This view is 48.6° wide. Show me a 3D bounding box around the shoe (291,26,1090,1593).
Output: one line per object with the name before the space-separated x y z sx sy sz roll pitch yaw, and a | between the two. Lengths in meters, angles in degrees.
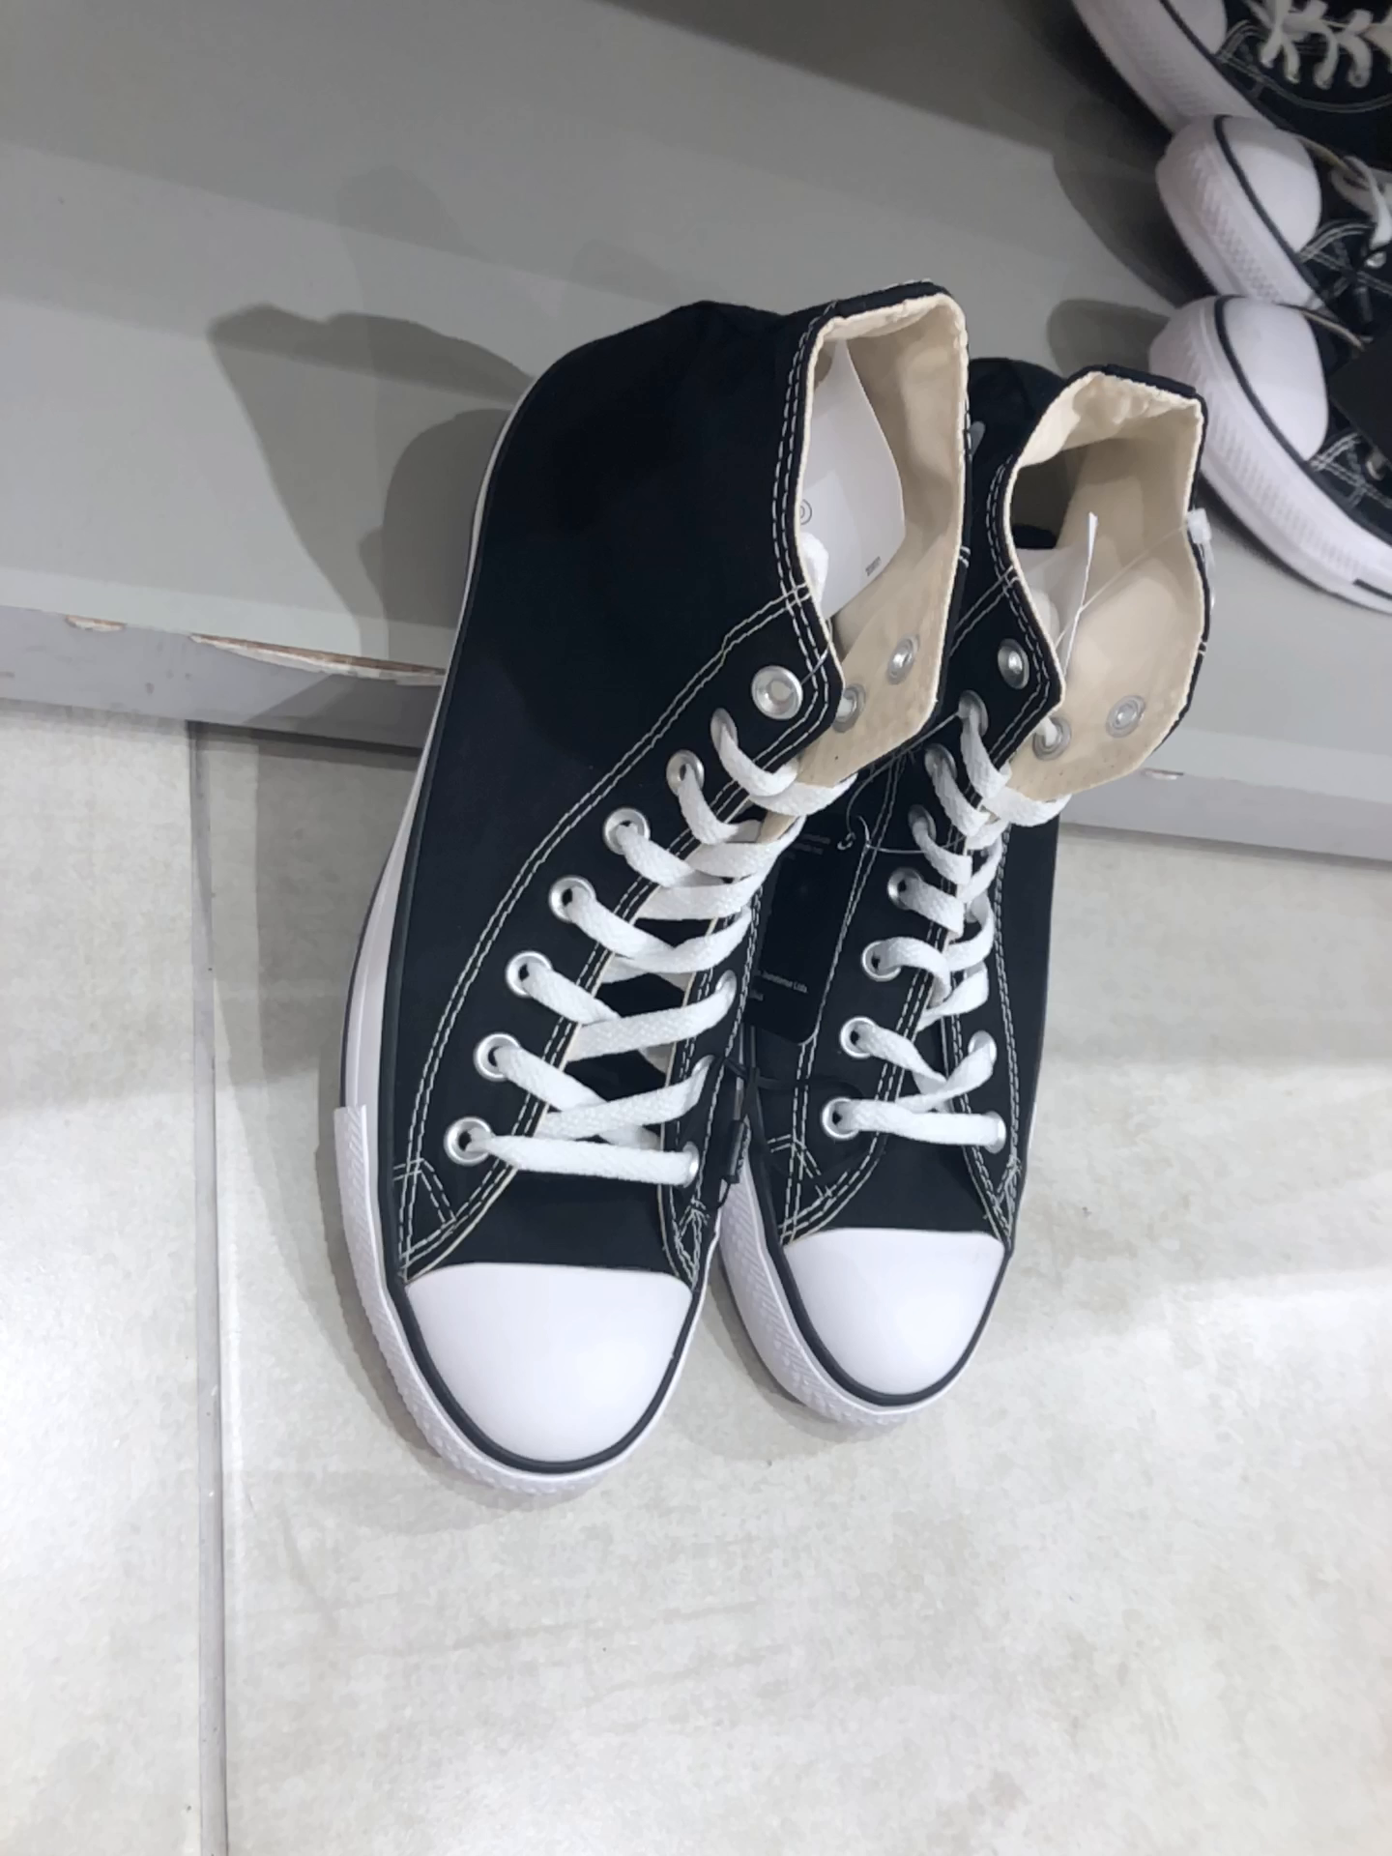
shoe | -0.011 -0.021 0.391 0.120 0.140 0.310 7 89 -24

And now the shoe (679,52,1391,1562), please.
shoe | 0.093 -0.025 0.425 0.120 0.140 0.330 5 90 -25
